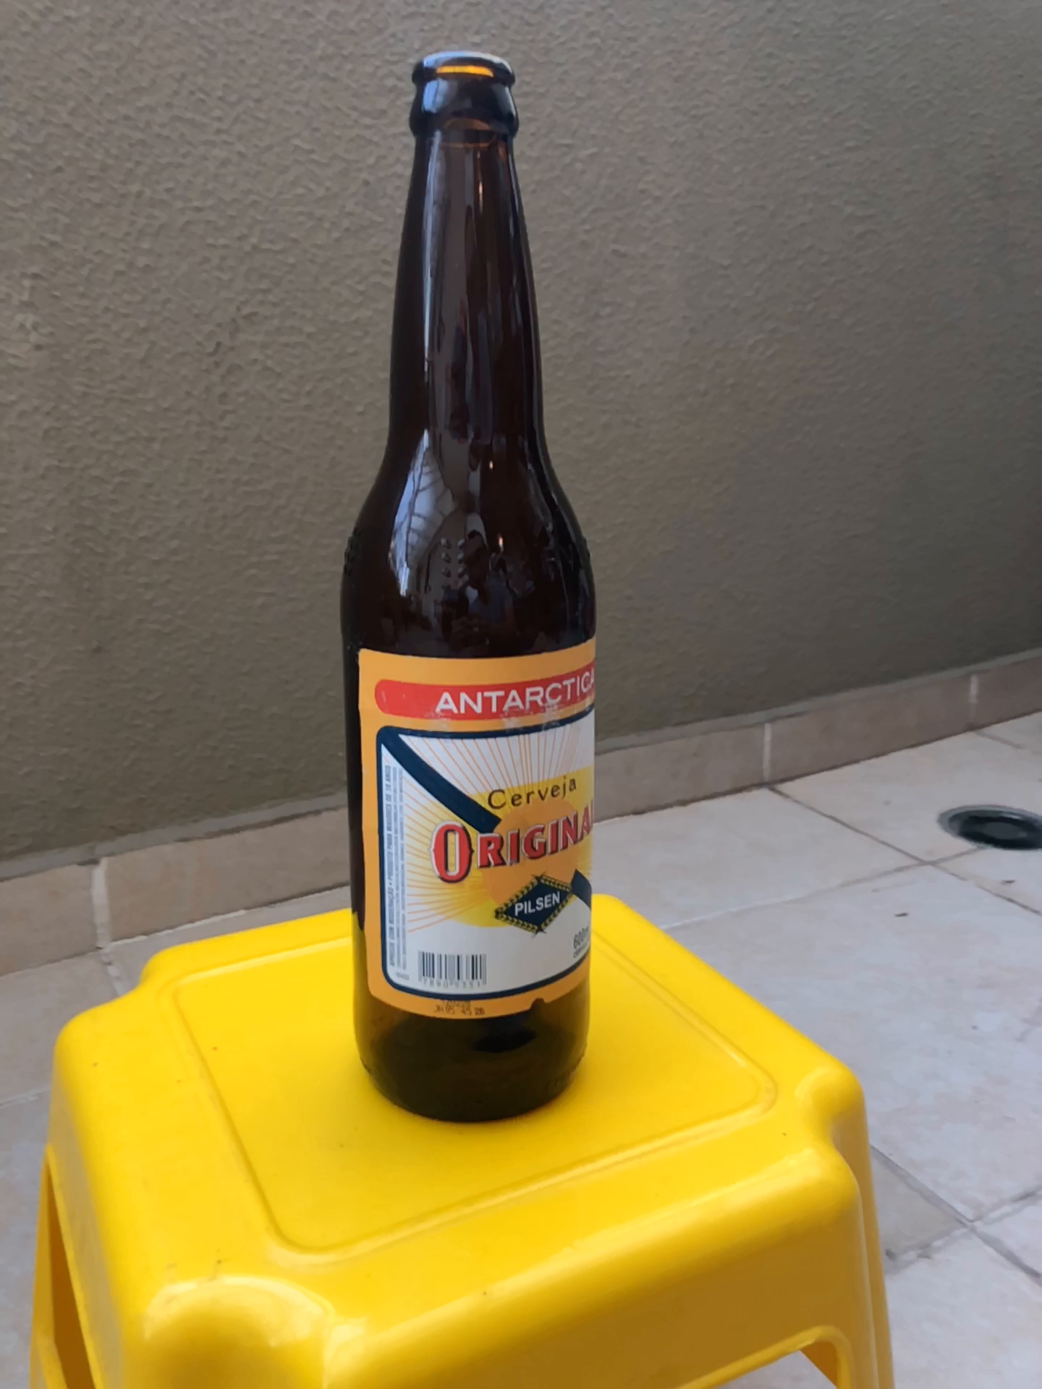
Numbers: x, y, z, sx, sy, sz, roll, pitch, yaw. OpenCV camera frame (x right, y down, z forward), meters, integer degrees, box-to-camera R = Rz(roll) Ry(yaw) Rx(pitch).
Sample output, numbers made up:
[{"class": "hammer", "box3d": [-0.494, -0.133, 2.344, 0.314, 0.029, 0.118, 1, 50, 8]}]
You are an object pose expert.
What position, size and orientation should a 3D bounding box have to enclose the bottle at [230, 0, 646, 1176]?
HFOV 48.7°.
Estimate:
[{"class": "bottle", "box3d": [-0.025, -0.026, 0.324, 0.080, 0.289, 0.080, 1, 14, 0]}]
